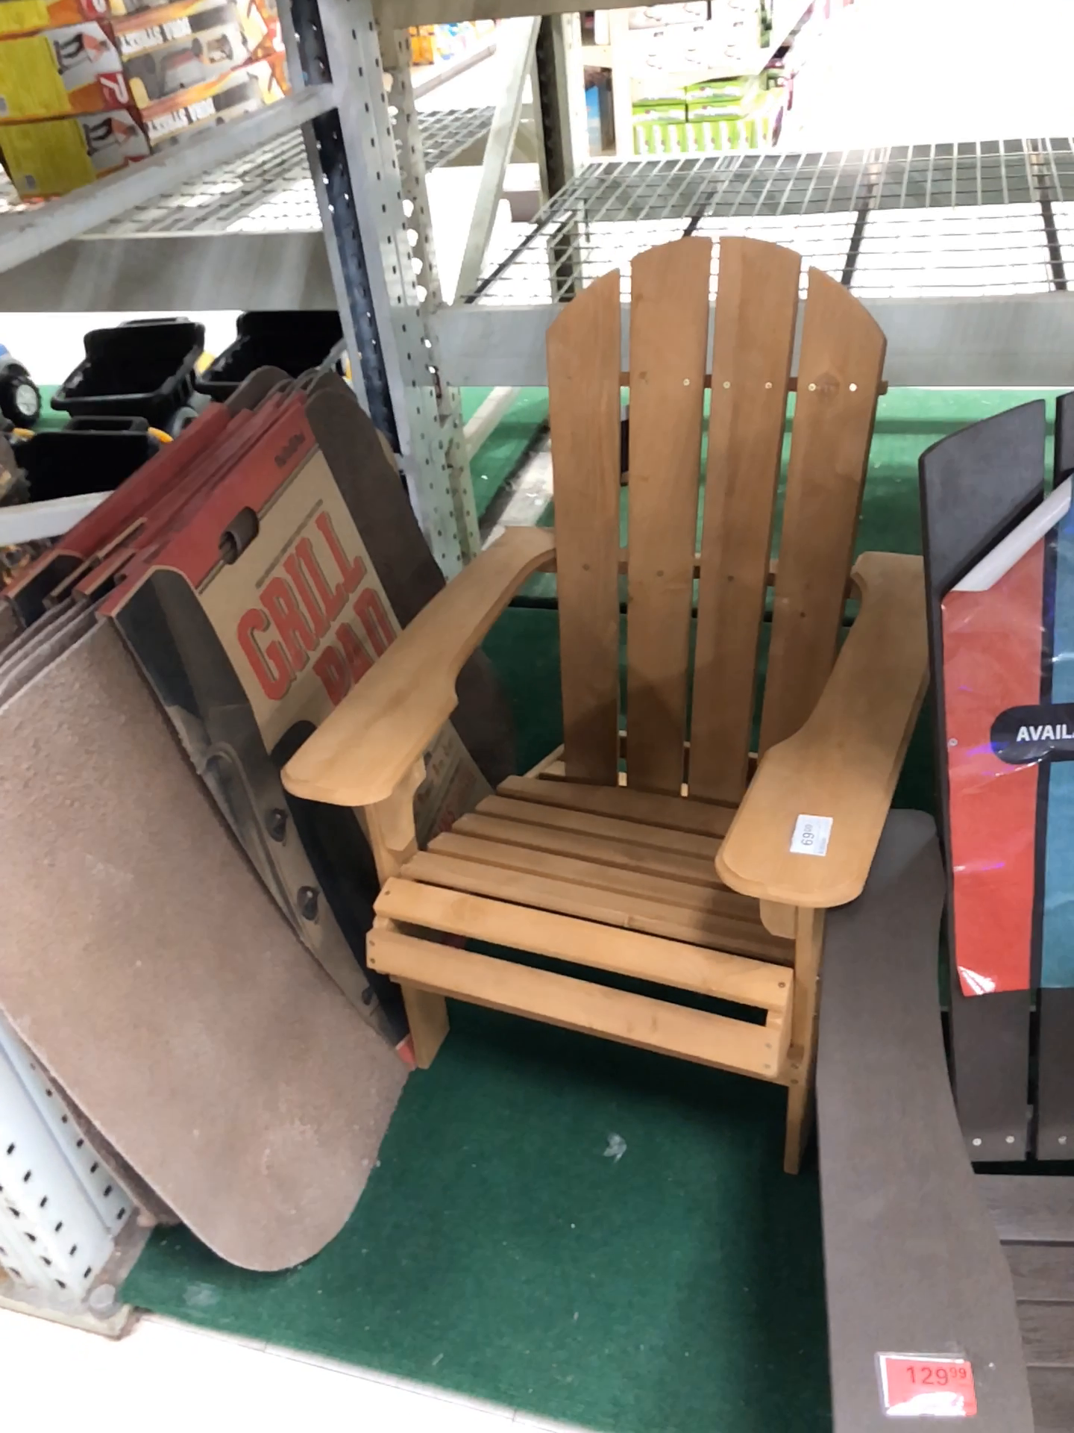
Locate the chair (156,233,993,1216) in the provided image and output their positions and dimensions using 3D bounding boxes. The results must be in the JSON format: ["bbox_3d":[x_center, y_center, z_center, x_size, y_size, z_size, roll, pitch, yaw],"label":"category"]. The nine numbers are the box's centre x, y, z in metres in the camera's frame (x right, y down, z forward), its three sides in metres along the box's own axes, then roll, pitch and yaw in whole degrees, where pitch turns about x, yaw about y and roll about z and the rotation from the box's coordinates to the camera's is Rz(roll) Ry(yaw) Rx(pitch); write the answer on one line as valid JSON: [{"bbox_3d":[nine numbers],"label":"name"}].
[{"bbox_3d":[0.129,-0.035,1.452,0.642,0.884,0.689,10,40,22],"label":"chair"}]
